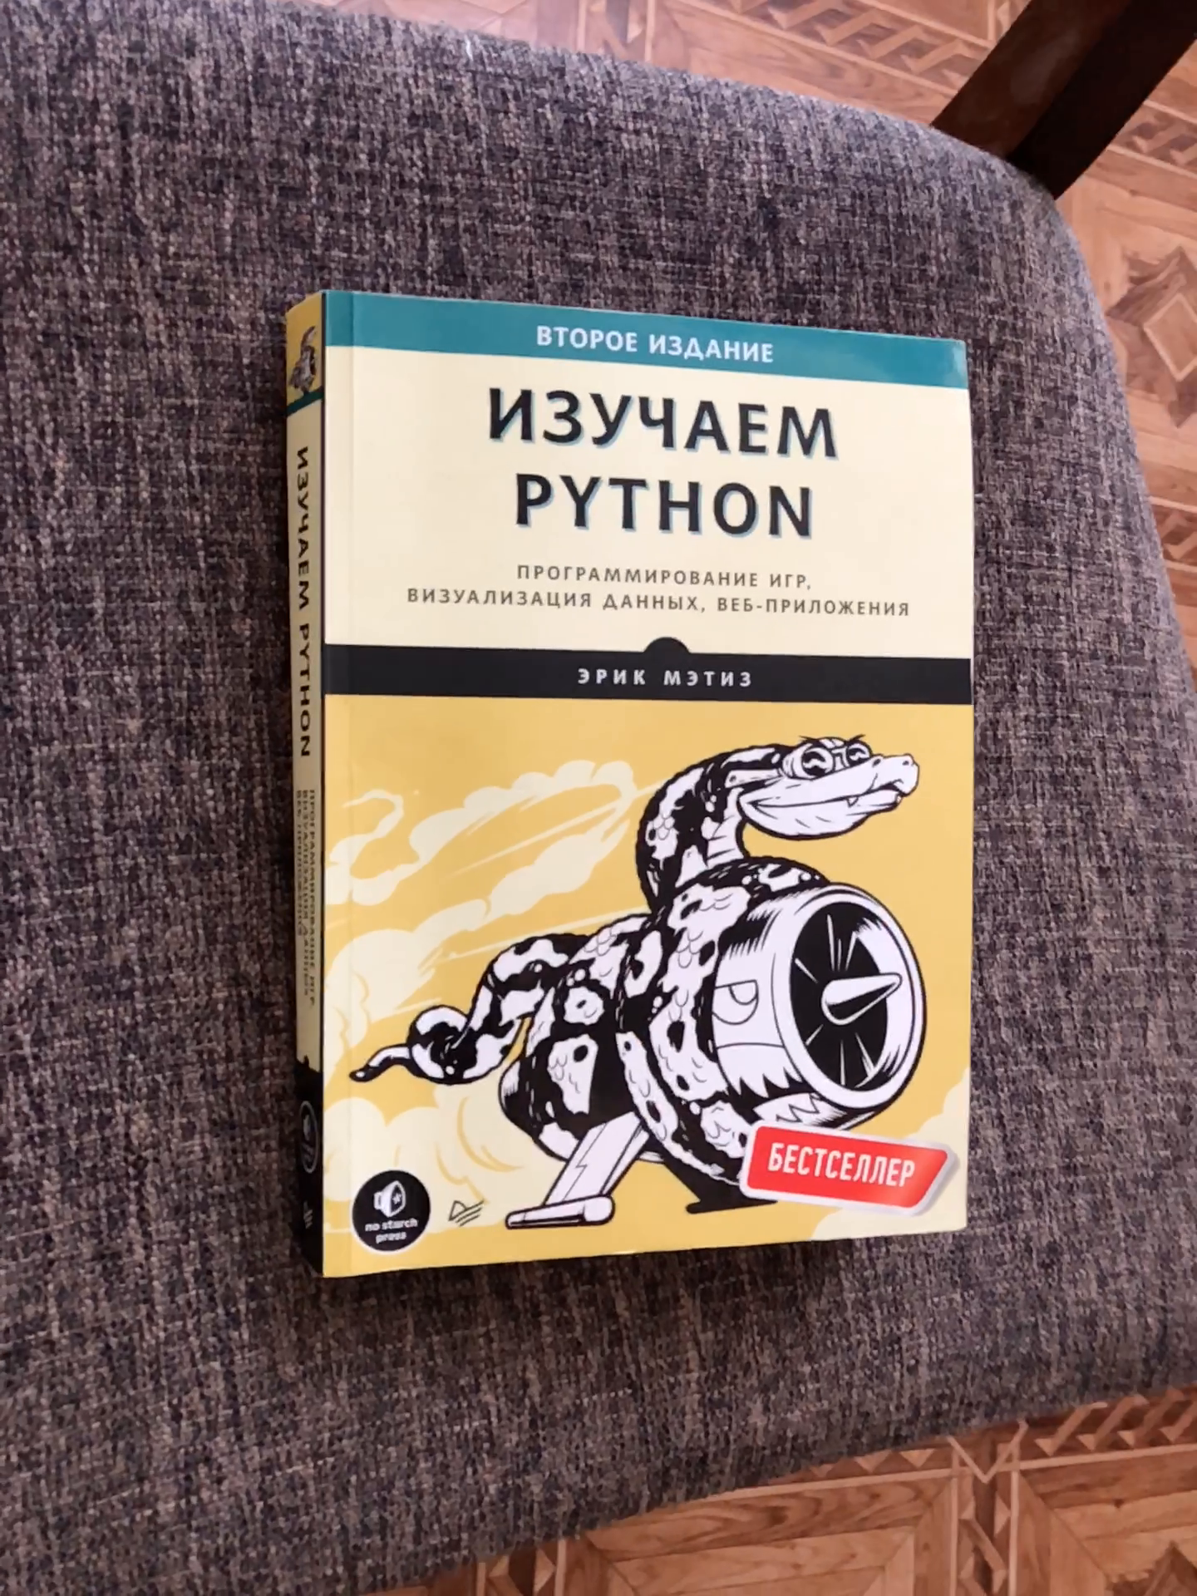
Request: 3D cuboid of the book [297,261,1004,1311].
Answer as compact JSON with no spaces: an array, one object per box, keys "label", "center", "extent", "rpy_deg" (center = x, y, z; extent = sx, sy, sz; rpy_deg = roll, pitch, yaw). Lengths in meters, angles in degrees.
[{"label":"book","center":[0.012,-0.004,0.329],"extent":[0.168,0.040,0.233],"rpy_deg":[1,86,-13]}]
